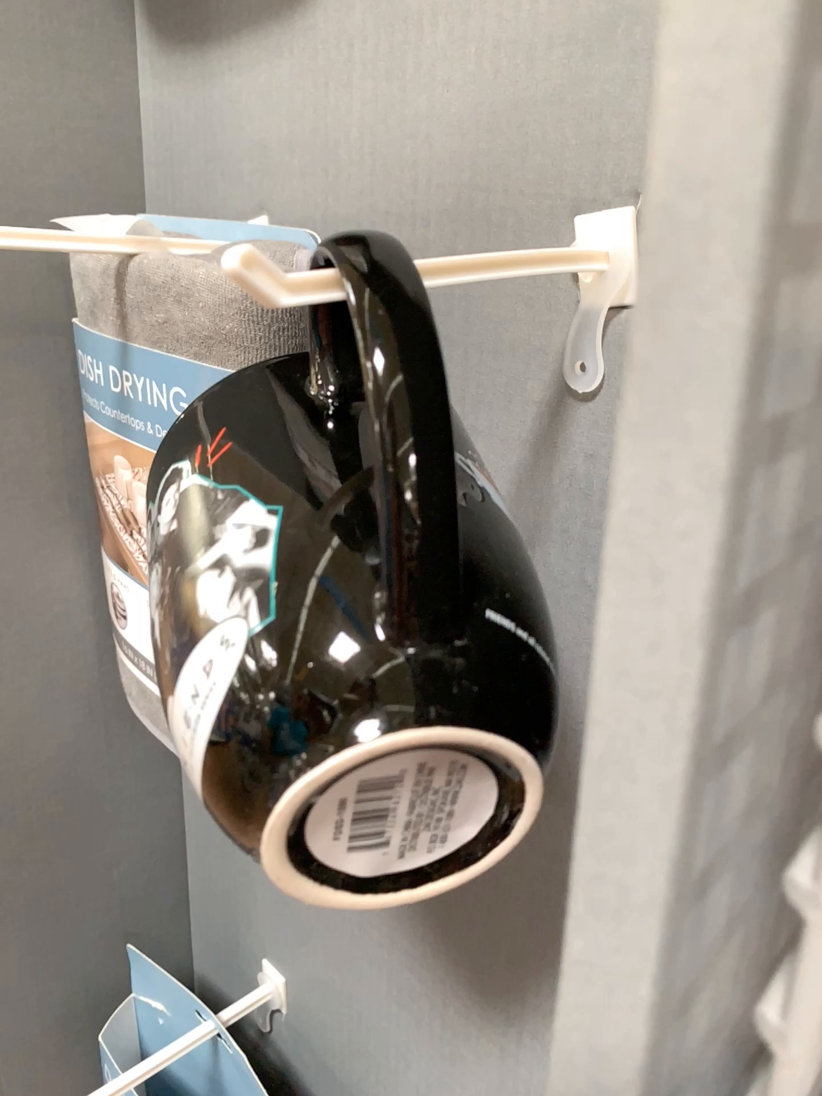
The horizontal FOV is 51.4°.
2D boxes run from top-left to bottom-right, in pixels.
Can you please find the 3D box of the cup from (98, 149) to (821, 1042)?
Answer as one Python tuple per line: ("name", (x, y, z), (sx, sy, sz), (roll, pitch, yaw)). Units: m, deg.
("cup", (-0.012, 0.003, 0.176), (0.086, 0.127, 0.116), (-3, 37, -16))
